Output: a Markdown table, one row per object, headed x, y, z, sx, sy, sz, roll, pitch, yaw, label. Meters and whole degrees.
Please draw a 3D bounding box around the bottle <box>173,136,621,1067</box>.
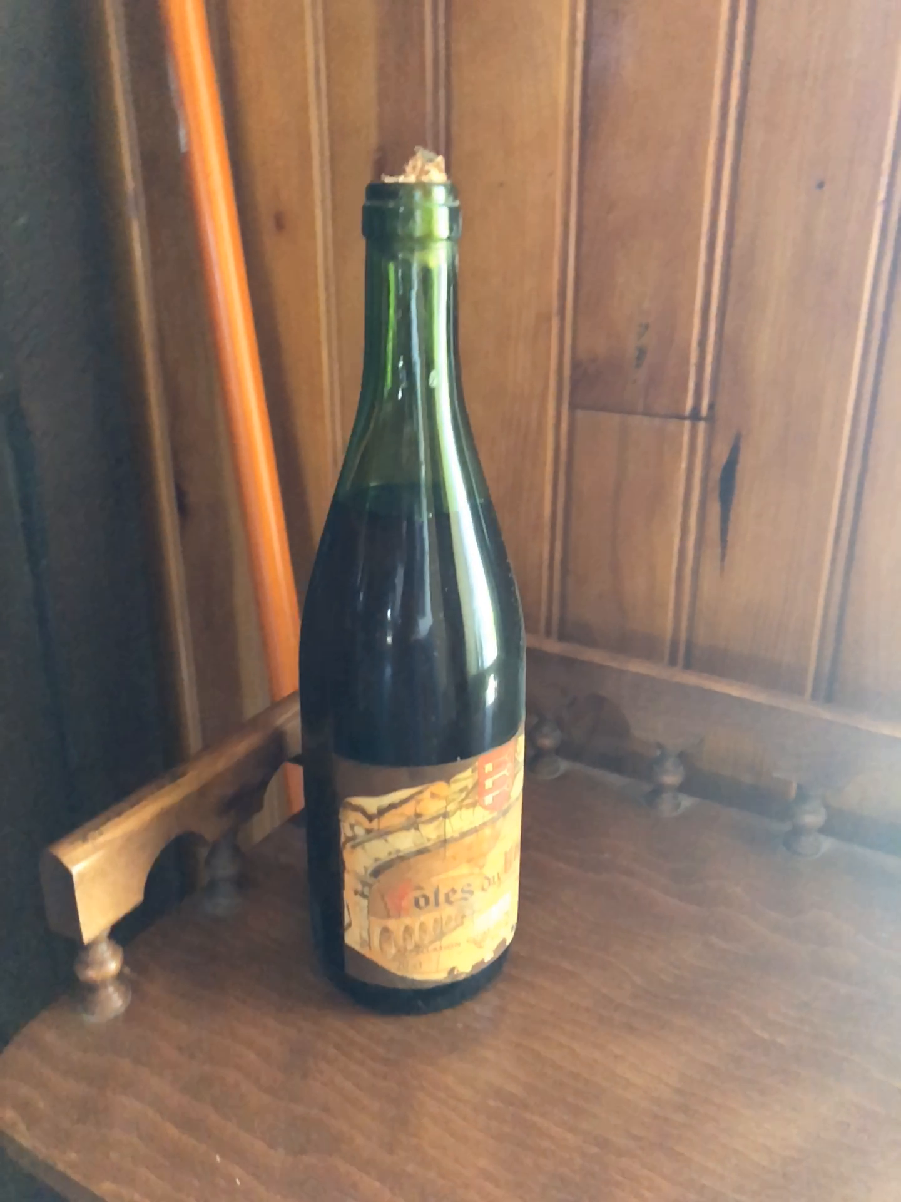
| x | y | z | sx | sy | sz | roll | pitch | yaw | label |
| --- | --- | --- | --- | --- | --- | --- | --- | --- | --- |
| -0.014 | 0.000 | 0.335 | 0.090 | 0.279 | 0.091 | 0 | 22 | 0 | bottle |
